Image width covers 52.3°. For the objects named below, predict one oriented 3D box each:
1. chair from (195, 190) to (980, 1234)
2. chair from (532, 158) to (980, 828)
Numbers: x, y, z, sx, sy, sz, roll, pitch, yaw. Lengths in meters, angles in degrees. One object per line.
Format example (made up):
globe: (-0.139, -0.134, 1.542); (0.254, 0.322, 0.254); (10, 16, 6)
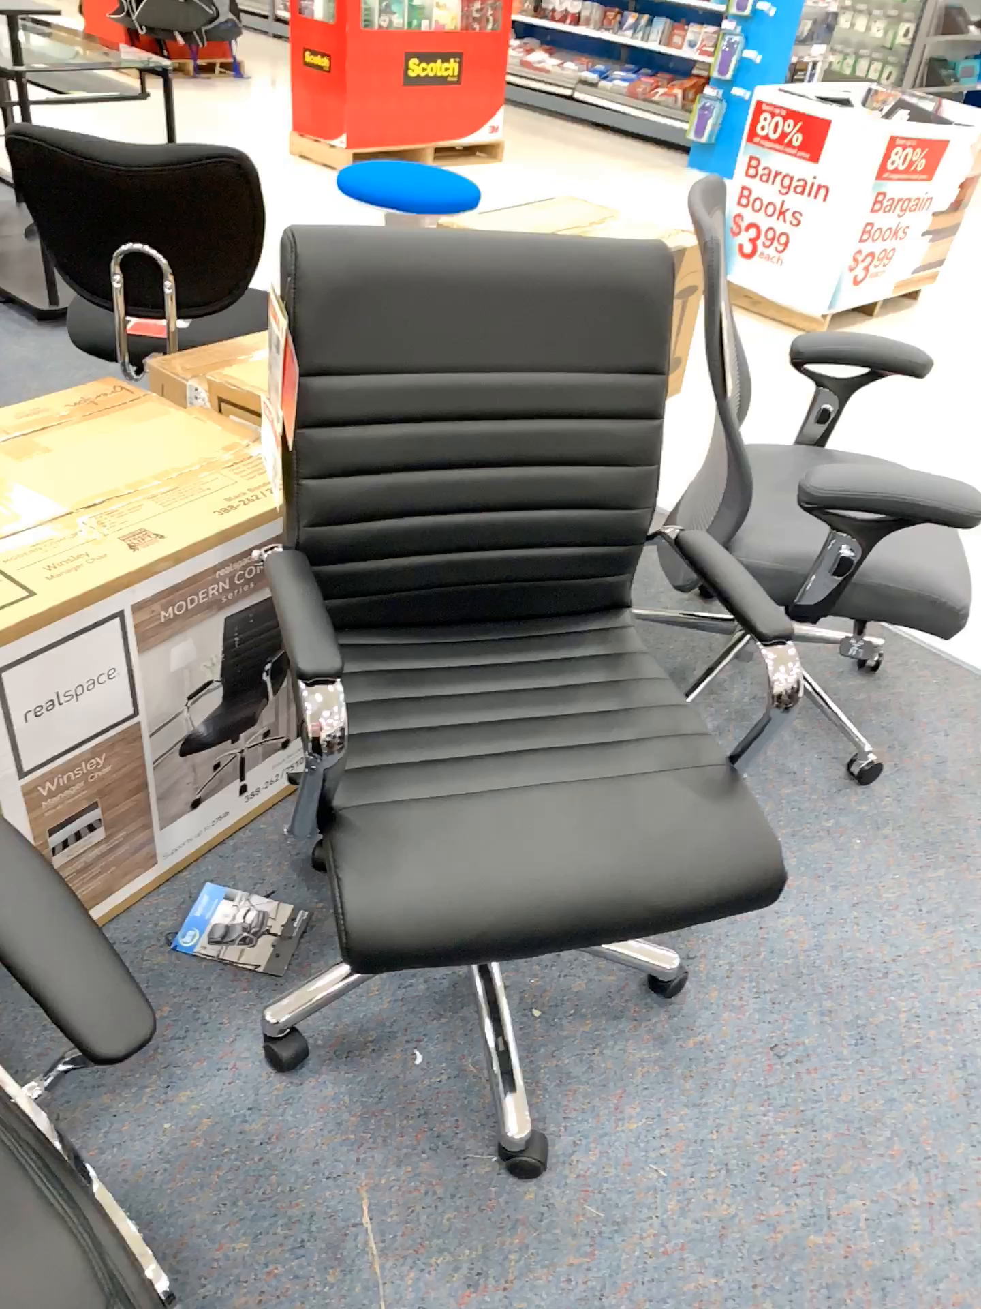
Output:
chair: (0.032, 0.059, 1.188); (0.655, 0.953, 0.652); (-4, 38, -16)
chair: (0.551, -0.323, 1.858); (0.719, 0.873, 0.738); (12, 37, 6)
